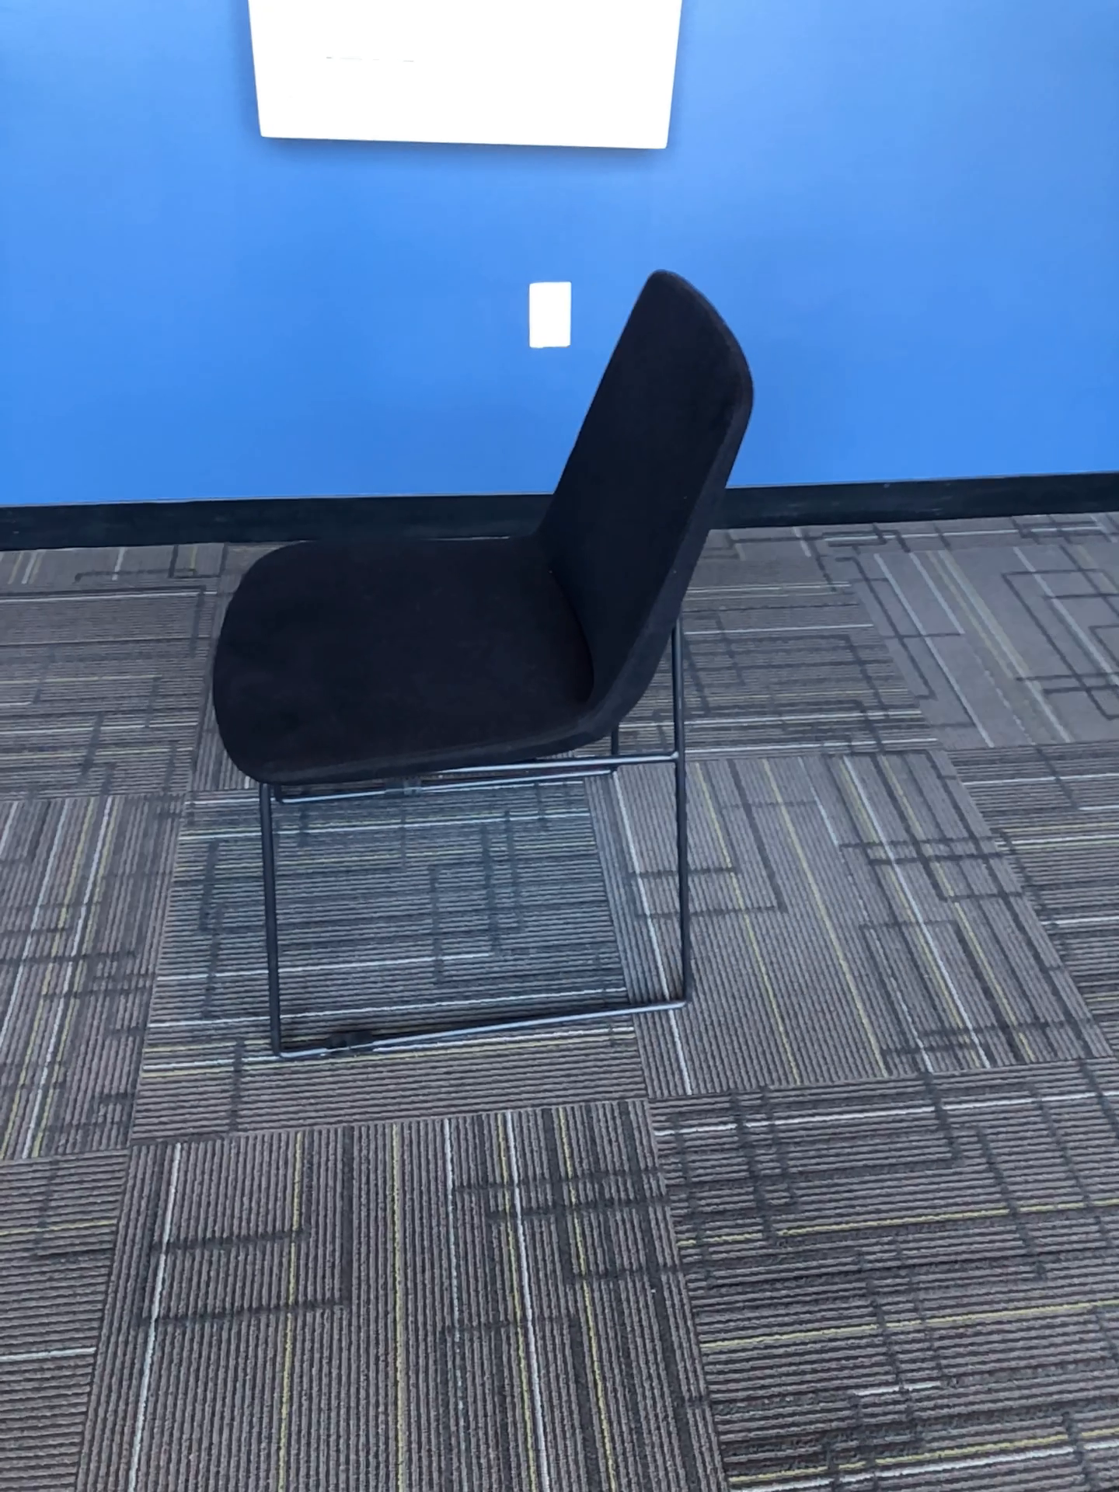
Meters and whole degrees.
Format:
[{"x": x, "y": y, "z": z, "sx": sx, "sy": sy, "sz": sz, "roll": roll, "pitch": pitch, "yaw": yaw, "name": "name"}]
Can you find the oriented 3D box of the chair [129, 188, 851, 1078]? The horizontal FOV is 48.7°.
[{"x": -0.107, "y": -0.130, "z": 1.387, "sx": 0.550, "sy": 0.766, "sz": 0.563, "roll": -6, "pitch": 41, "yaw": -10, "name": "chair"}]
